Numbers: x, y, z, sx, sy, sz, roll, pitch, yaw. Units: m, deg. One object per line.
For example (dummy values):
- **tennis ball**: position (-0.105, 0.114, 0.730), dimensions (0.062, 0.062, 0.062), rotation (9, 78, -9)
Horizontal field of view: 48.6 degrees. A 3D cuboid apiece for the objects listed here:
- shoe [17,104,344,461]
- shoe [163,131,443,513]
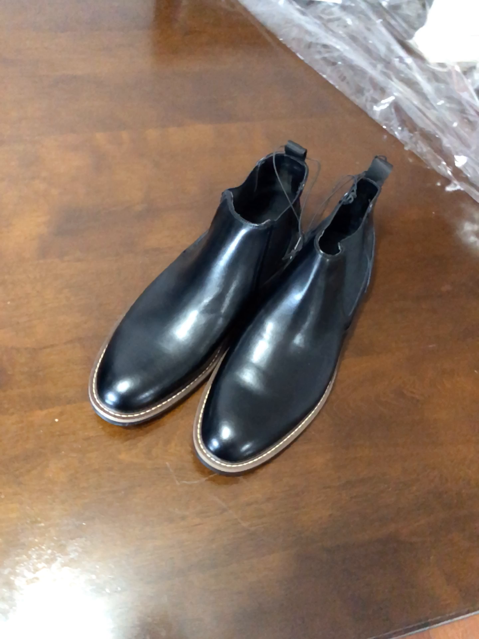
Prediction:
- **shoe**: position (-0.042, -0.039, 0.525), dimensions (0.120, 0.170, 0.300), rotation (33, 62, 11)
- **shoe**: position (0.059, 0.000, 0.503), dimensions (0.120, 0.170, 0.300), rotation (27, 61, 8)
